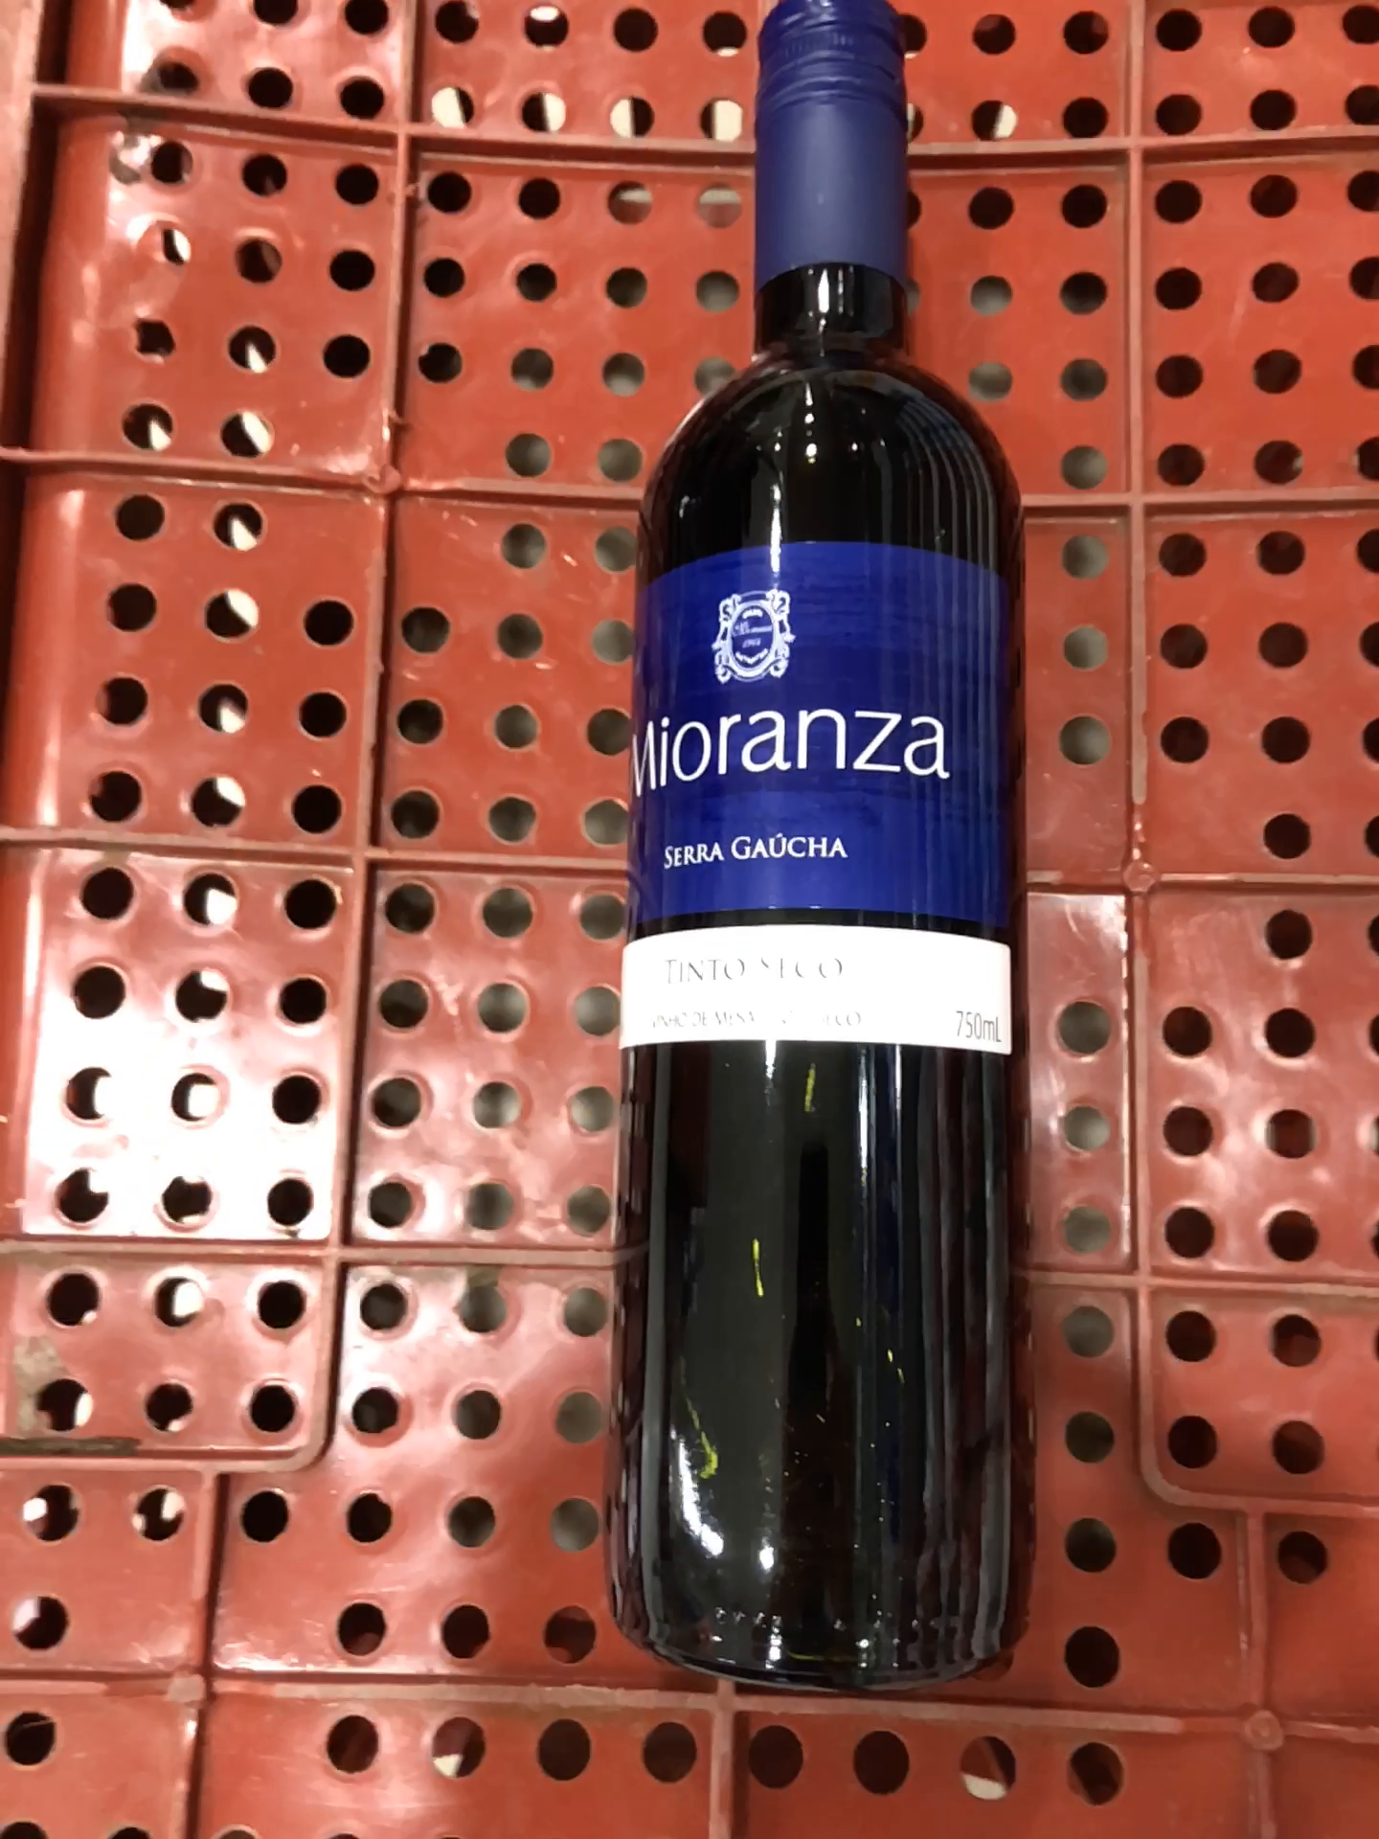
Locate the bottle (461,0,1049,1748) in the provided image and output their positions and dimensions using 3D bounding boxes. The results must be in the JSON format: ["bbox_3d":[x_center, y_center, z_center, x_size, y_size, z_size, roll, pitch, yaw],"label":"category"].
[{"bbox_3d":[0.016,-0.031,0.272,0.080,0.060,0.300,-2,81,22],"label":"bottle"}]
